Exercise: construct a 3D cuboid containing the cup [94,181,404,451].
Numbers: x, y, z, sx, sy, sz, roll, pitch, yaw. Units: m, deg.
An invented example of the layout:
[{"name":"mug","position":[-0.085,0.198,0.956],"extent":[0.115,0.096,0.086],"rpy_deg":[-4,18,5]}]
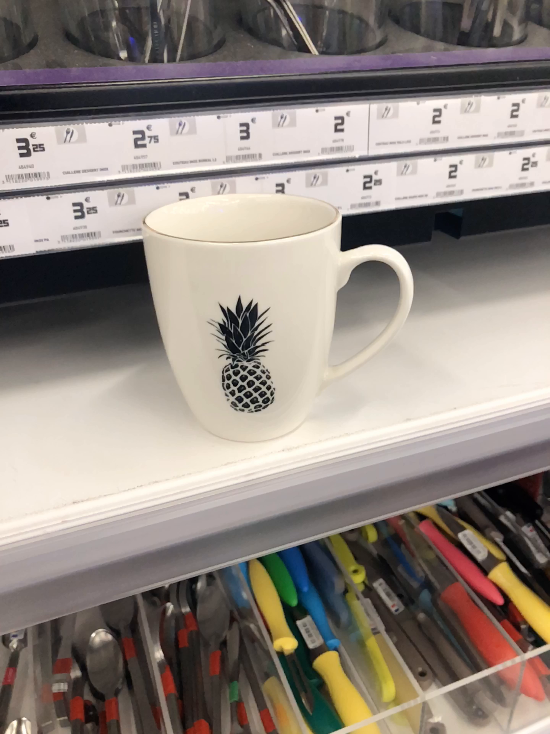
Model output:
[{"name":"cup","position":[-0.004,-0.028,0.281],"extent":[0.114,0.093,0.083],"rpy_deg":[3,30,8]}]
